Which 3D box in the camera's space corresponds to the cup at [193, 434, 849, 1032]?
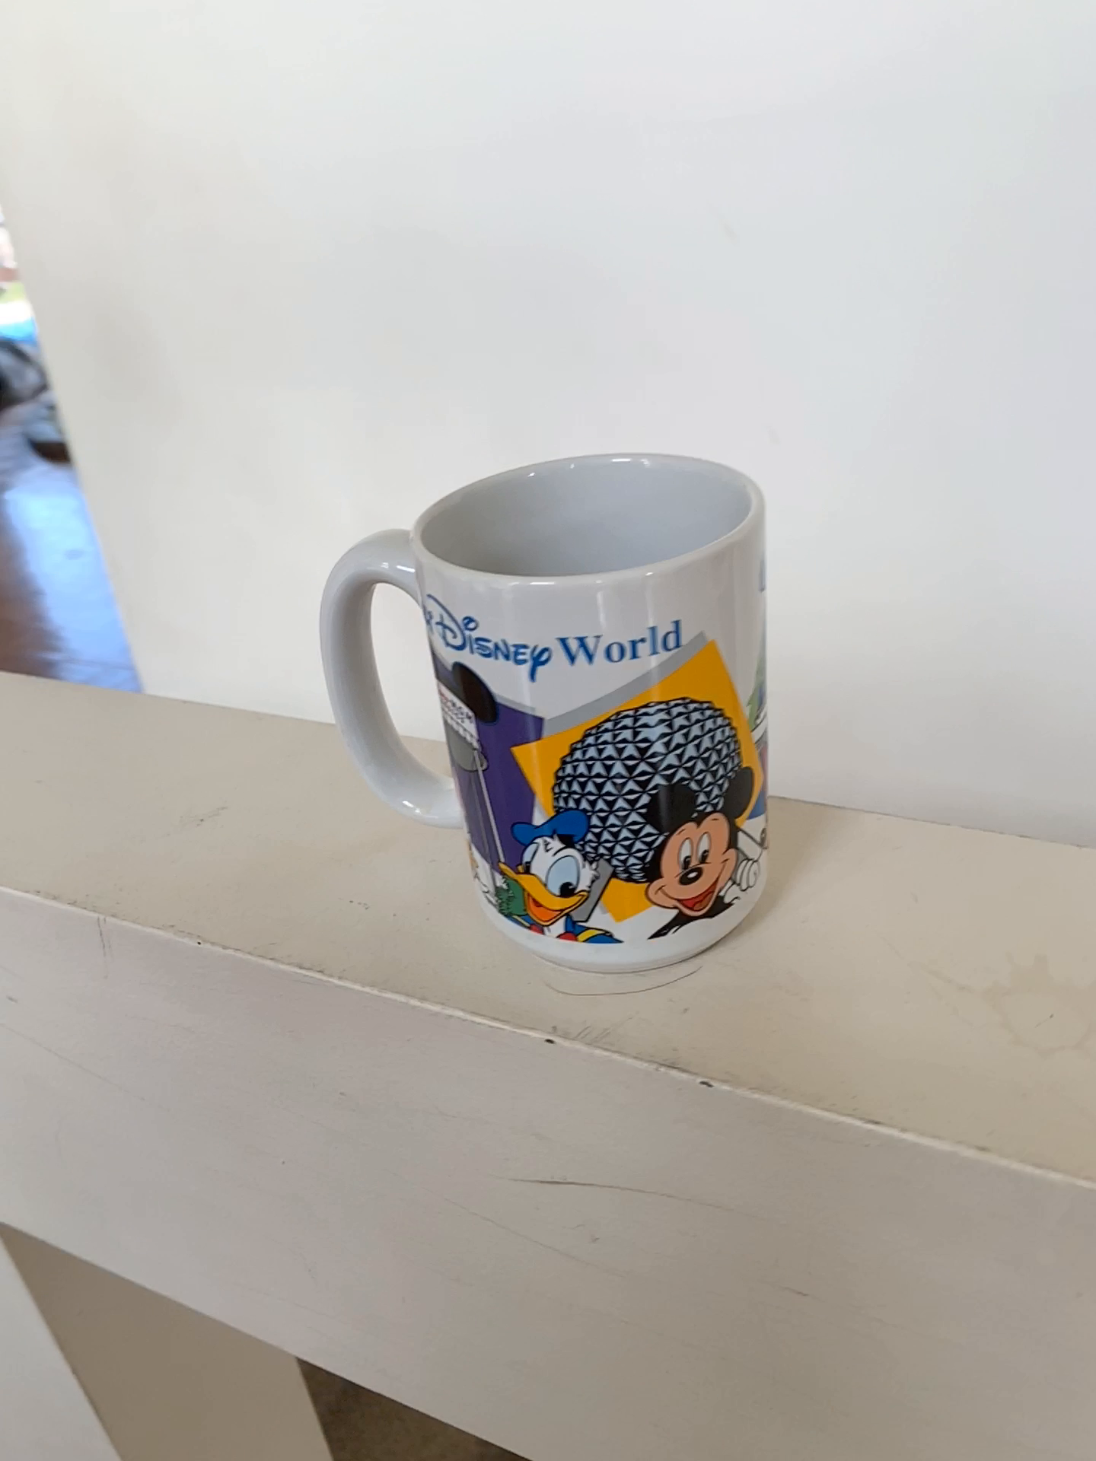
[{"bbox_3d":[-0.004,-0.009,0.303,0.140,0.109,0.080,13,34,30],"label":"cup"}]
